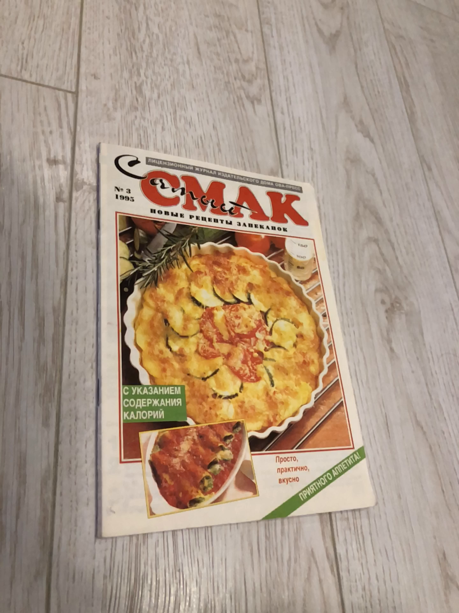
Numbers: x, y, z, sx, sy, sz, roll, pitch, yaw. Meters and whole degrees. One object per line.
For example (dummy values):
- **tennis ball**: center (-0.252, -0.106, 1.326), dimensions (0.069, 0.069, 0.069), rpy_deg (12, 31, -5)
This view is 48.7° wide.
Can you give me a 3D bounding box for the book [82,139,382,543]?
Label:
- **book**: center (-0.002, 0.010, 0.314), dimensions (0.166, 0.020, 0.230), rpy_deg (5, 65, -23)
